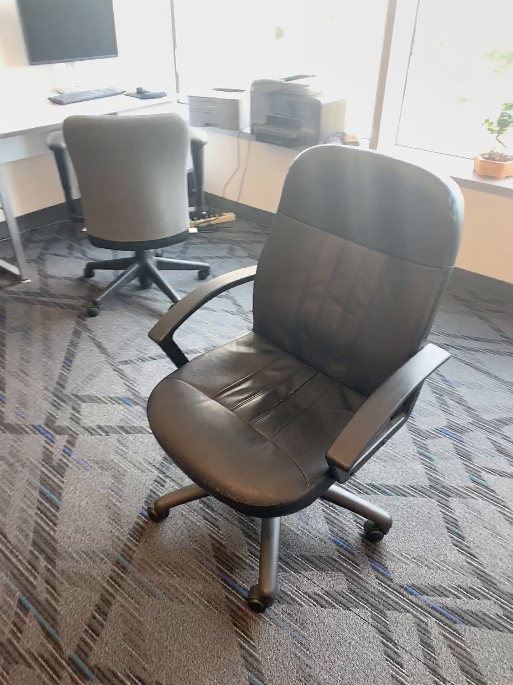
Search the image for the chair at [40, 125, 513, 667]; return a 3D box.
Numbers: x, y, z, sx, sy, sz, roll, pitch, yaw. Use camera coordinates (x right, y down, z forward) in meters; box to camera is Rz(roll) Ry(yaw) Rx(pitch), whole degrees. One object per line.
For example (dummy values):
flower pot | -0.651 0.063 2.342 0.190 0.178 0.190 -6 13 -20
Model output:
chair | 0.063 0.050 1.290 0.703 0.892 0.694 28 43 34
